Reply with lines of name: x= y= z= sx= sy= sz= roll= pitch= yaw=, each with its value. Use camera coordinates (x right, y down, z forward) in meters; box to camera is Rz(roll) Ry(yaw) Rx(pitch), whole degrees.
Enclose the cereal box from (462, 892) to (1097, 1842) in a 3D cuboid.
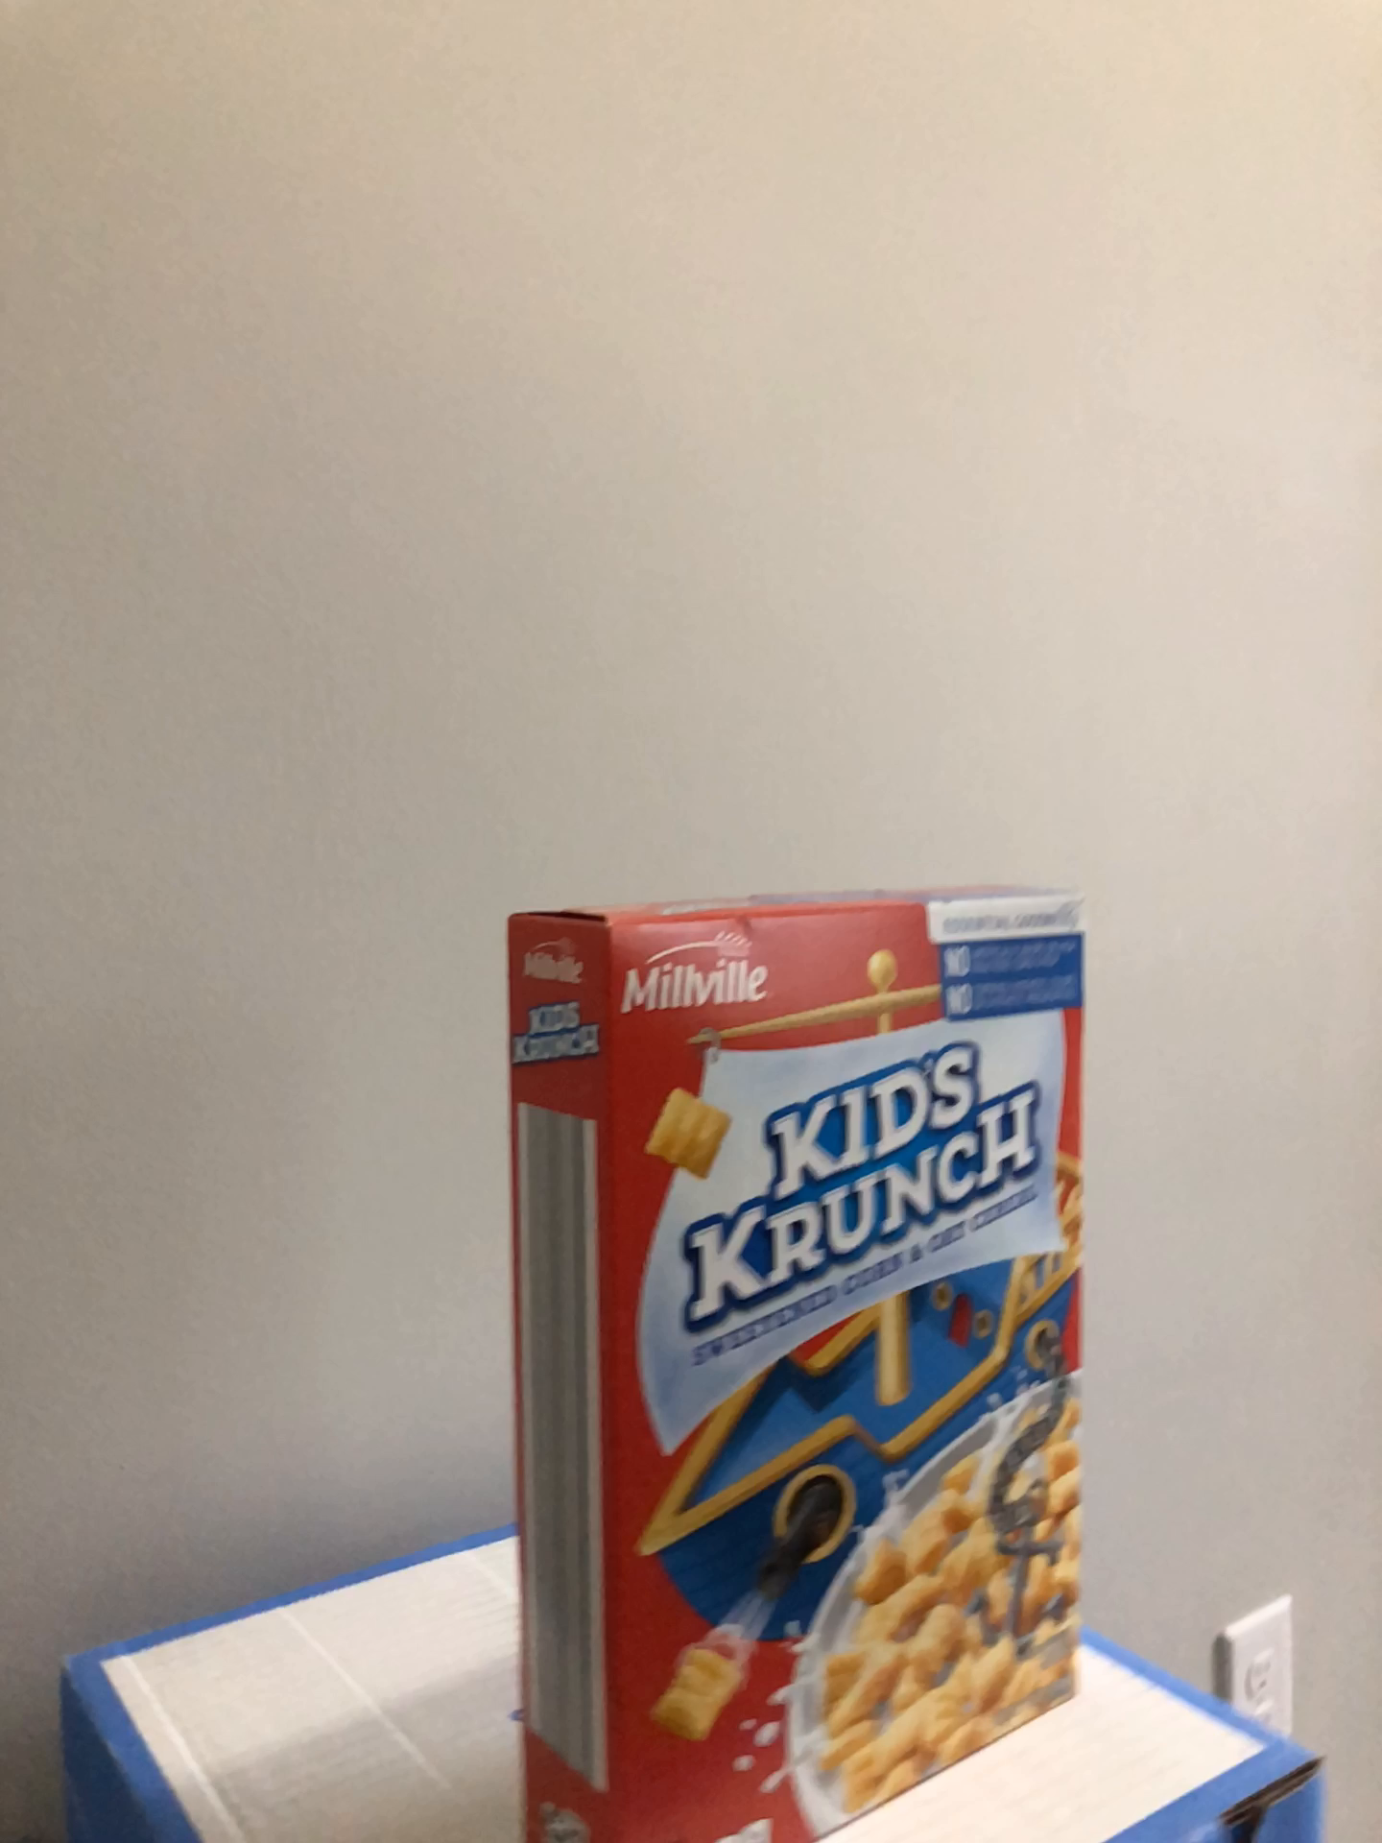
cereal box: x=0.038 y=0.130 z=0.487 sx=0.210 sy=0.270 sz=0.060 roll=-3 pitch=3 yaw=-38
